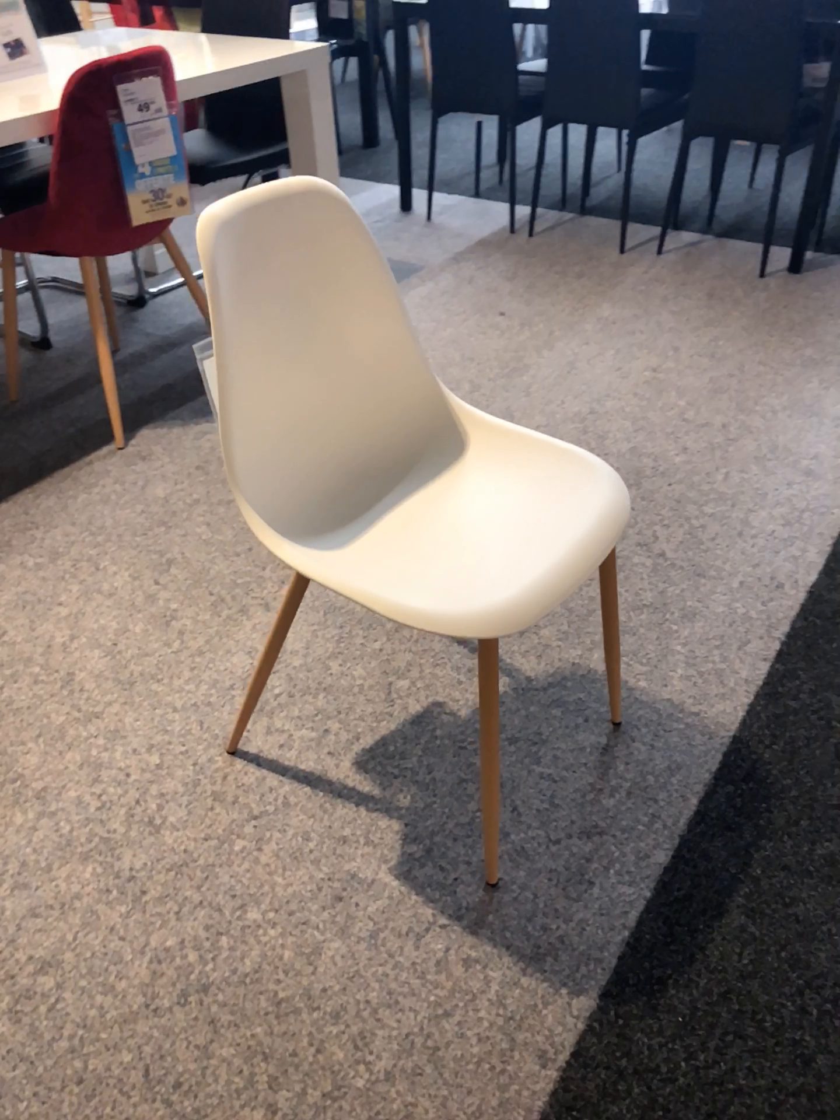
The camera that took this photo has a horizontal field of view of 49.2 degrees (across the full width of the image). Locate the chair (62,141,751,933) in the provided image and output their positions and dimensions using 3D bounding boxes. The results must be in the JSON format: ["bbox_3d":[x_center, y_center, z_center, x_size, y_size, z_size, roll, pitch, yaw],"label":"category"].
[{"bbox_3d":[0.006,-0.068,1.349,0.600,0.845,0.573,24,44,30],"label":"chair"}]
